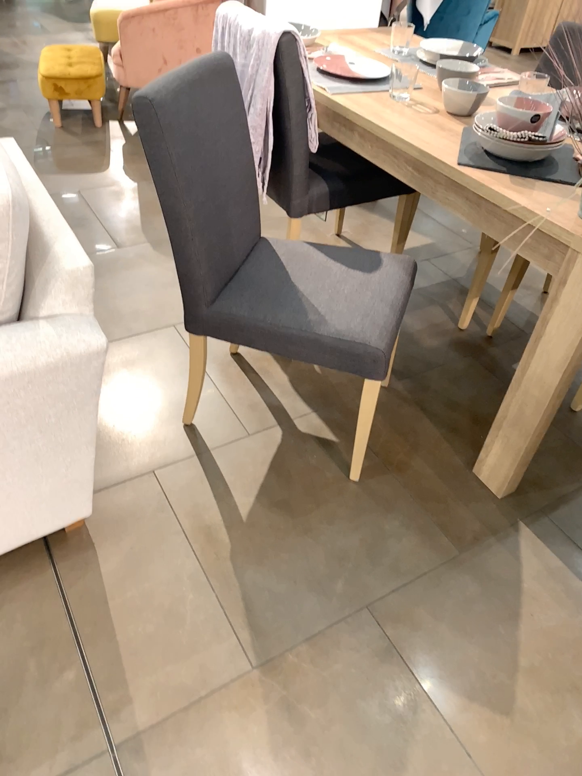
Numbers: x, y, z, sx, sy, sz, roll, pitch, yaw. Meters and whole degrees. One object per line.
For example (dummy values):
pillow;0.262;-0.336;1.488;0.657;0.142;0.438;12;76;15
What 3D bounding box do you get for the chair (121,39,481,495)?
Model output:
chair;0.021;-0.292;1.513;0.615;0.889;0.510;17;42;12
